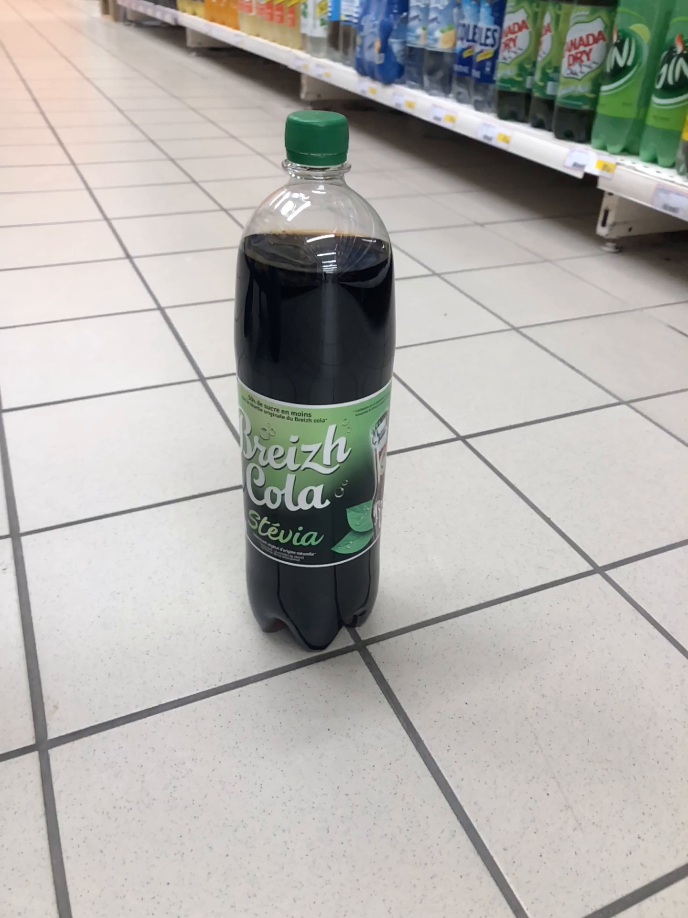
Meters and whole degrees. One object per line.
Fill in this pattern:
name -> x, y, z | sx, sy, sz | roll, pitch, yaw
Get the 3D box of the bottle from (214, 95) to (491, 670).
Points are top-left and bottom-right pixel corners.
bottle -> 0.002, -0.035, 0.435 | 0.100, 0.298, 0.101 | 2, 32, -1
